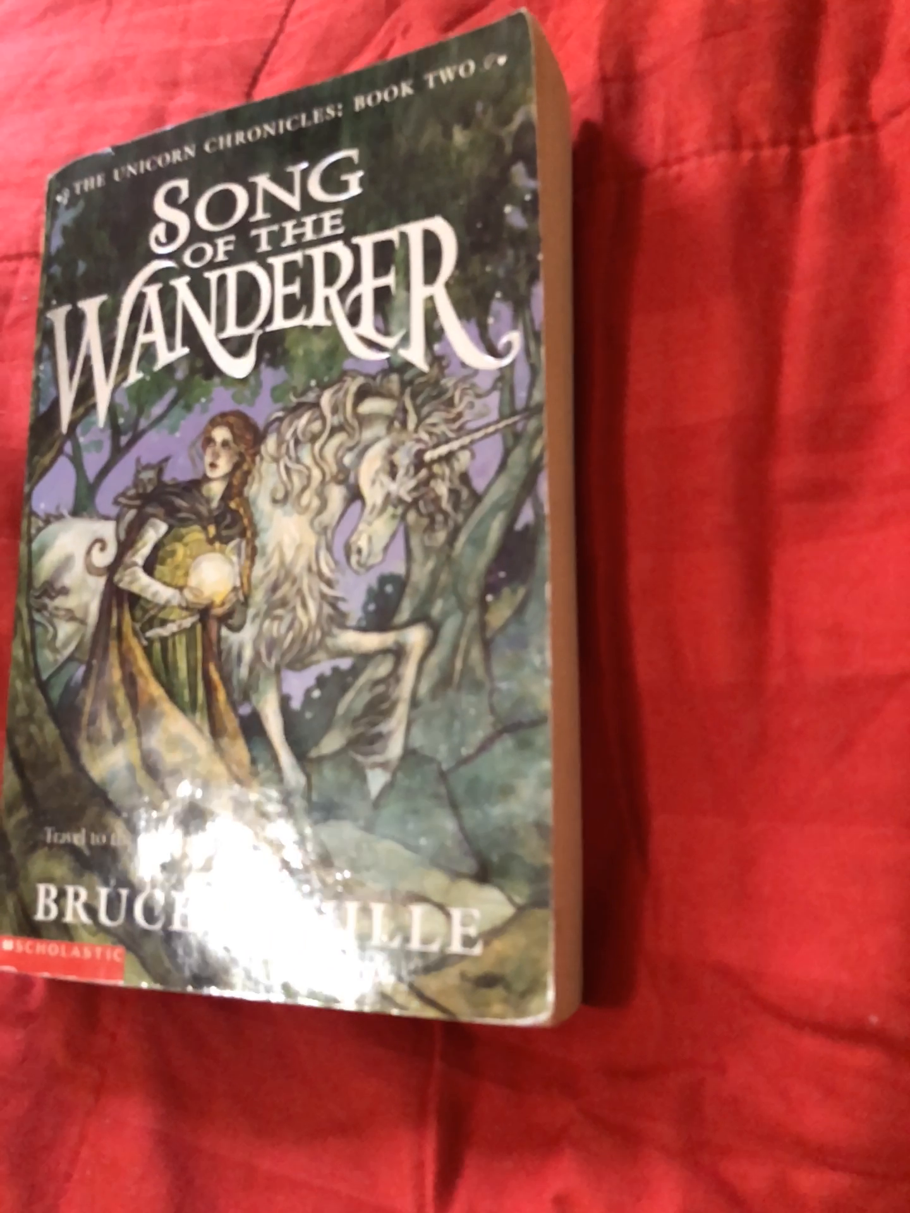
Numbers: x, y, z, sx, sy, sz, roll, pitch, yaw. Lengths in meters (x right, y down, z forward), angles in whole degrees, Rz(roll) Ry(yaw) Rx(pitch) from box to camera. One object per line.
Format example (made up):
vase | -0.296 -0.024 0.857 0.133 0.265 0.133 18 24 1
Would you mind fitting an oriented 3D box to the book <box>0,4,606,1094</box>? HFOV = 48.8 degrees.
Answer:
book | -0.037 -0.012 0.213 0.130 0.030 0.190 -4 80 25
